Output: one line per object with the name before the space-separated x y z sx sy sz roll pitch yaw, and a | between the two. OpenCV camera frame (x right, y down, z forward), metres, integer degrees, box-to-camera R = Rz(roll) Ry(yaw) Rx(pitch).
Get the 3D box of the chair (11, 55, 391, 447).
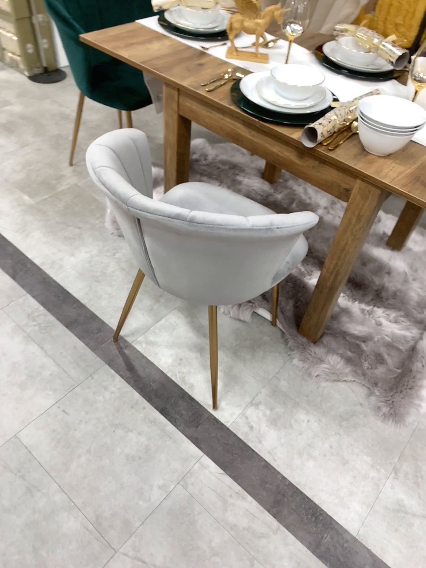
chair | -0.034 -0.101 1.212 0.632 0.709 0.553 31 51 21
